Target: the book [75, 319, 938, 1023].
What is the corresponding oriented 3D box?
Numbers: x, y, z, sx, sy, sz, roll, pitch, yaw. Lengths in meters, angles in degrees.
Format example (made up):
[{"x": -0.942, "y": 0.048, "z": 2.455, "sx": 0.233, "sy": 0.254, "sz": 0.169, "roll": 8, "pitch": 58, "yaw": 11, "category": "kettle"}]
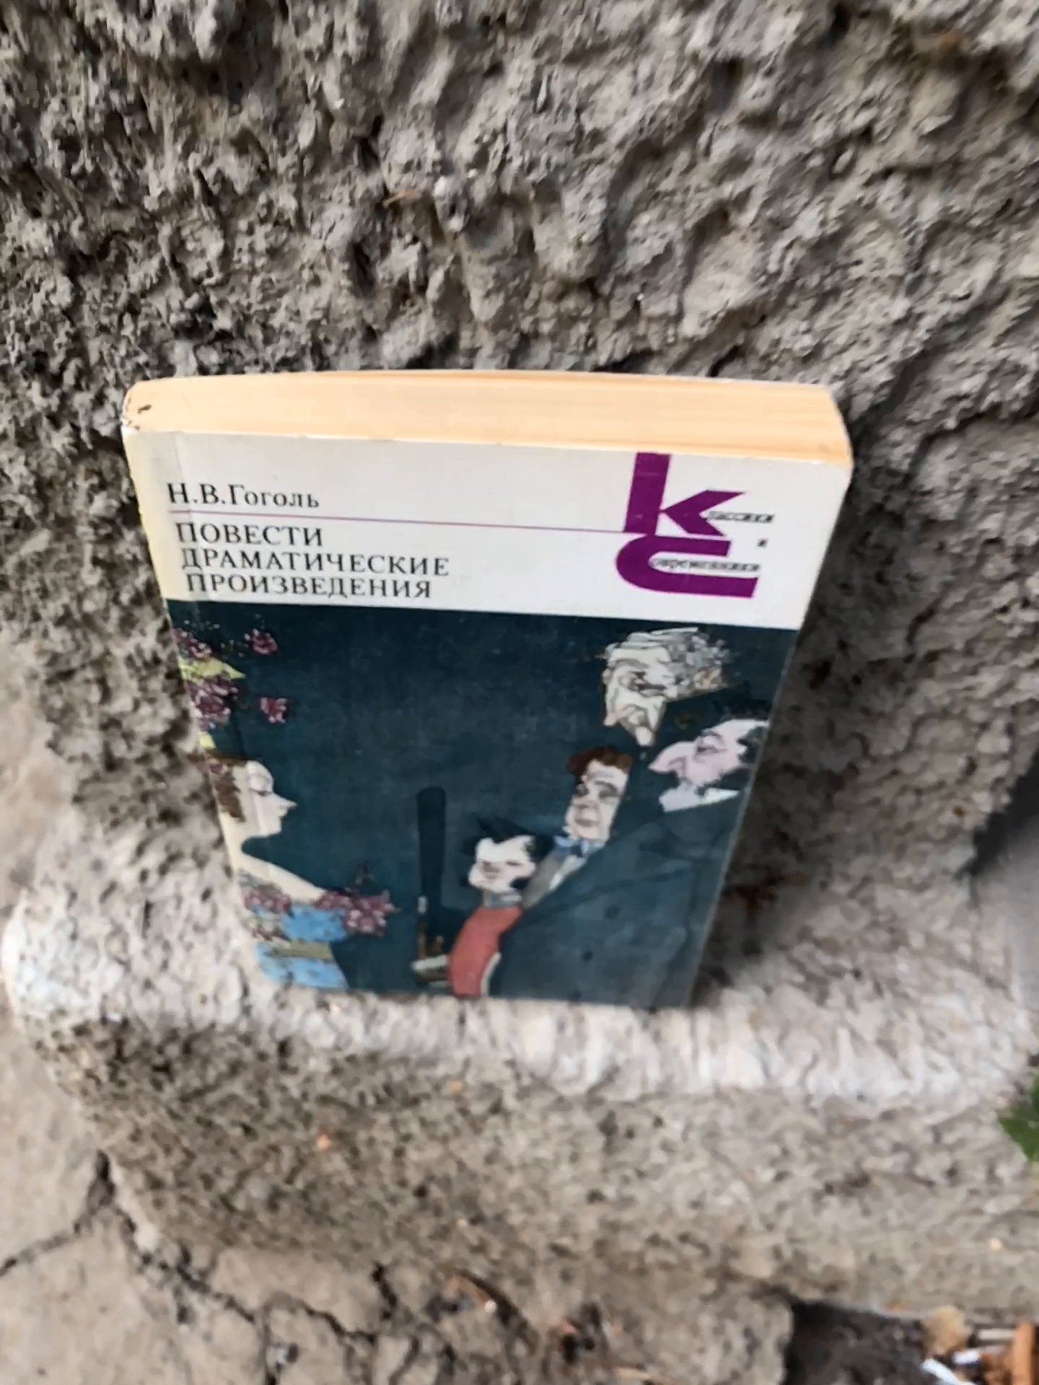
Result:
[{"x": -0.006, "y": 0.014, "z": 0.264, "sx": 0.137, "sy": 0.190, "sz": 0.030, "roll": 1, "pitch": 46, "yaw": -3, "category": "book"}]
